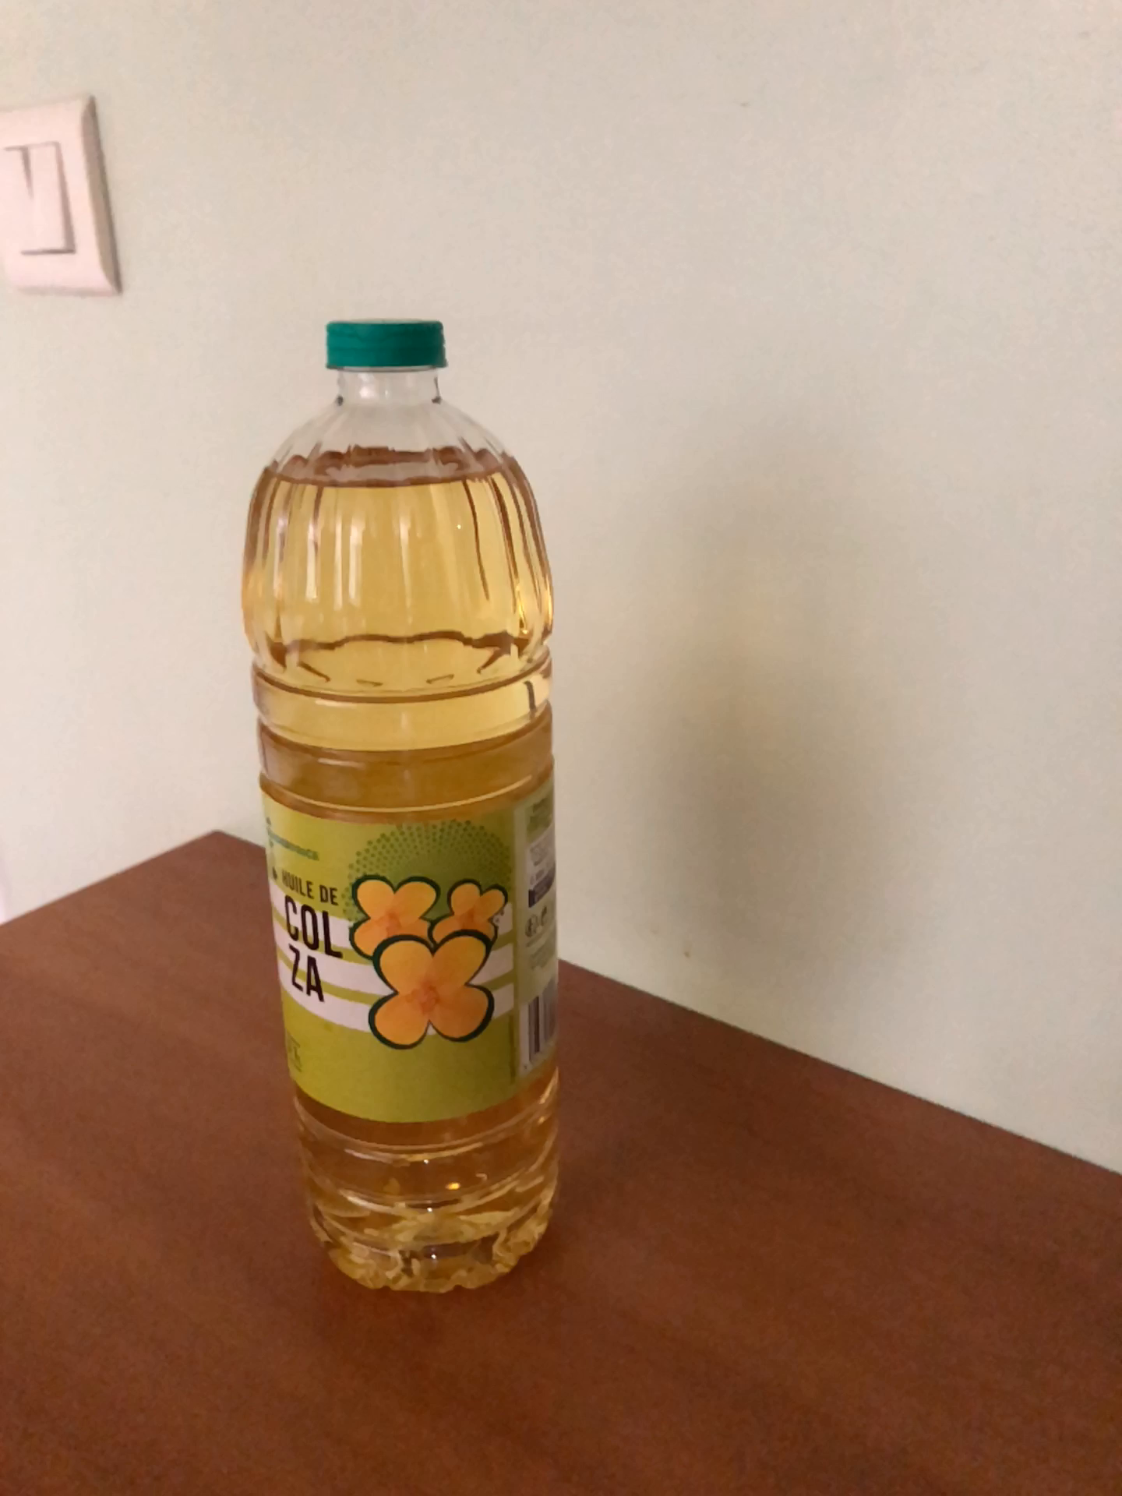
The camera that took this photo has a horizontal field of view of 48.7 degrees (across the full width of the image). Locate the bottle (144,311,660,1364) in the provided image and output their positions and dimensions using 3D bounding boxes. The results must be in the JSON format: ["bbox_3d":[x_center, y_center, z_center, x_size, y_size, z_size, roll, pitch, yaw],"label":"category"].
[{"bbox_3d":[-0.032,0.022,0.349,0.090,0.269,0.091,-1,21,0],"label":"bottle"}]
